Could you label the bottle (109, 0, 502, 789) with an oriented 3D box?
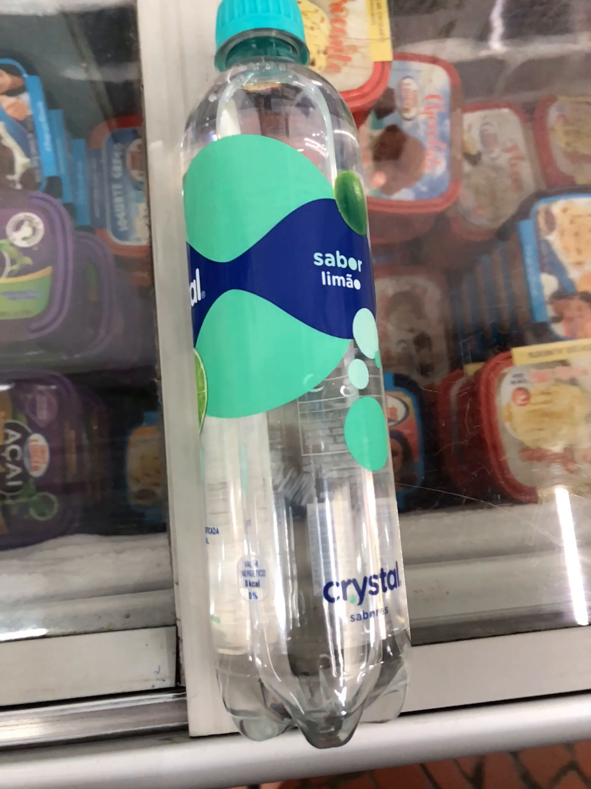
[{"bbox_3d":[0.000,-0.015,0.215,0.070,0.070,0.240,-6,87,-37],"label":"bottle"}]
